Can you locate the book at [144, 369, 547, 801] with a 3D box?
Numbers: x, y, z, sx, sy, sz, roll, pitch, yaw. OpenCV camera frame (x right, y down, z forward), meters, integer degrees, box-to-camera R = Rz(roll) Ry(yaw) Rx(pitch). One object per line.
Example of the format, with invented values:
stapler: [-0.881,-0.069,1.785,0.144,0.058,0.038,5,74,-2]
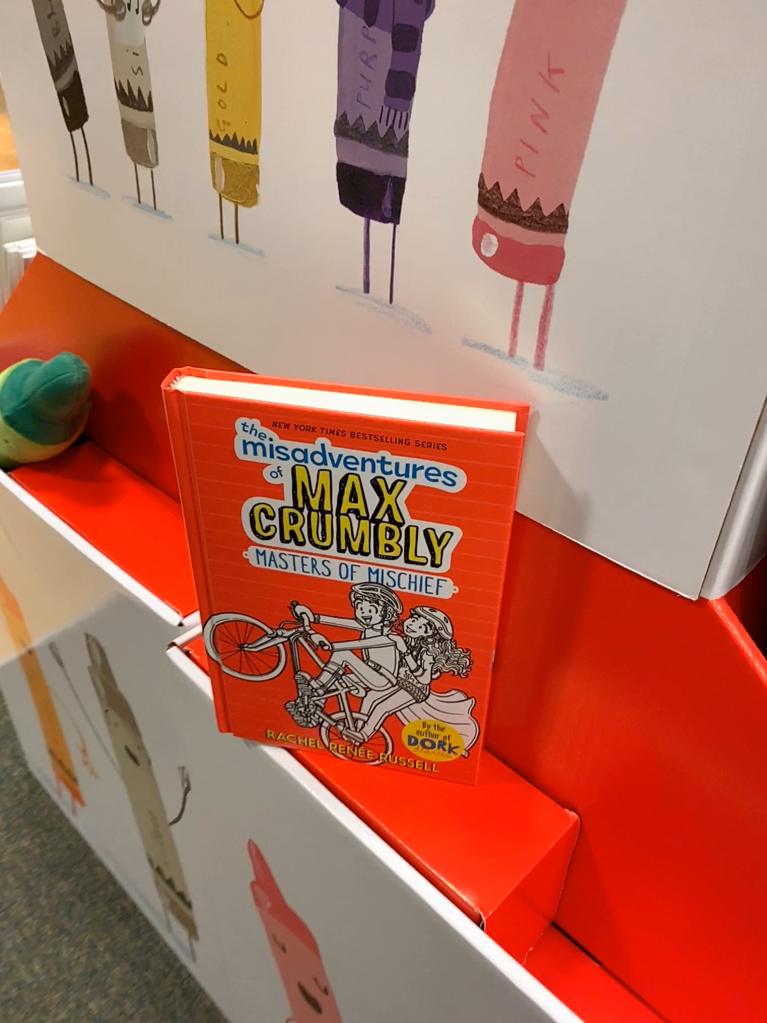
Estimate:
book: [-0.016,0.043,0.346,0.142,0.201,0.031,7,37,7]
